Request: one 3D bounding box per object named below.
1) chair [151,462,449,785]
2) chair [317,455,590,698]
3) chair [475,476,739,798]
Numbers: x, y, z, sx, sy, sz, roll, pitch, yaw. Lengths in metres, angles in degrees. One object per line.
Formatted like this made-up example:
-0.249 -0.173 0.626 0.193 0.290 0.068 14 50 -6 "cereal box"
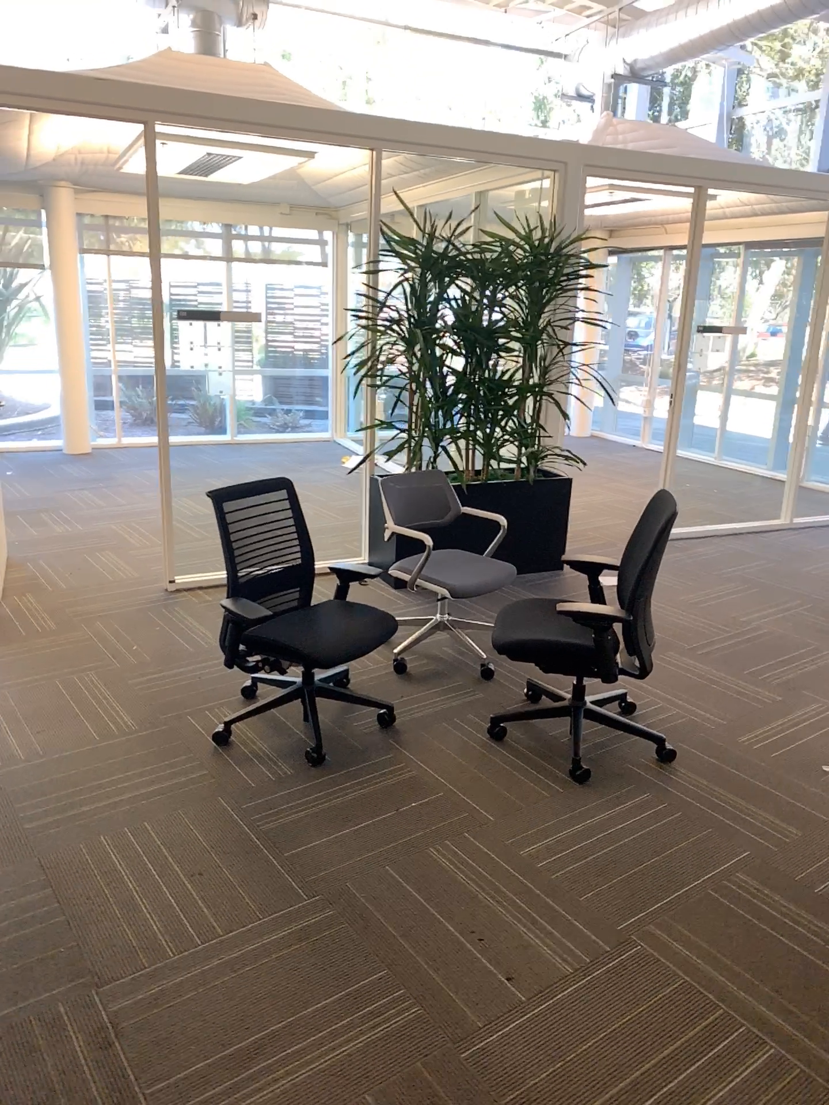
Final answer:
-0.414 0.193 3.209 0.722 0.886 0.811 13 19 33 "chair"
0.160 0.041 3.982 0.841 0.797 0.923 -12 22 -42 "chair"
0.667 0.253 3.178 0.760 0.886 0.853 4 16 7 "chair"
